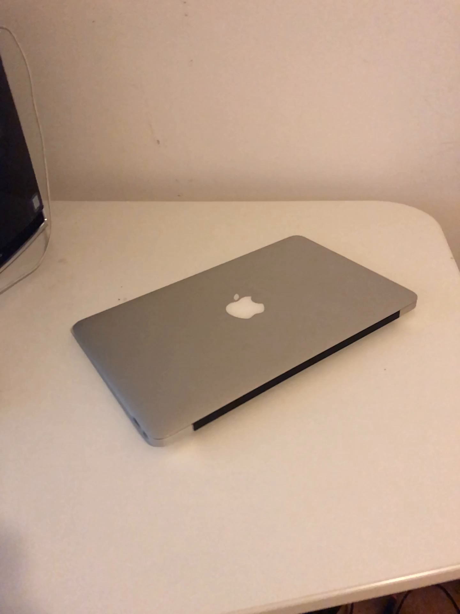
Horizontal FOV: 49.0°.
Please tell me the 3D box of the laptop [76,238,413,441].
[{"bbox_3d":[0.015,0.007,0.505,0.290,0.004,0.179,-24,39,-26],"label":"laptop"}]
